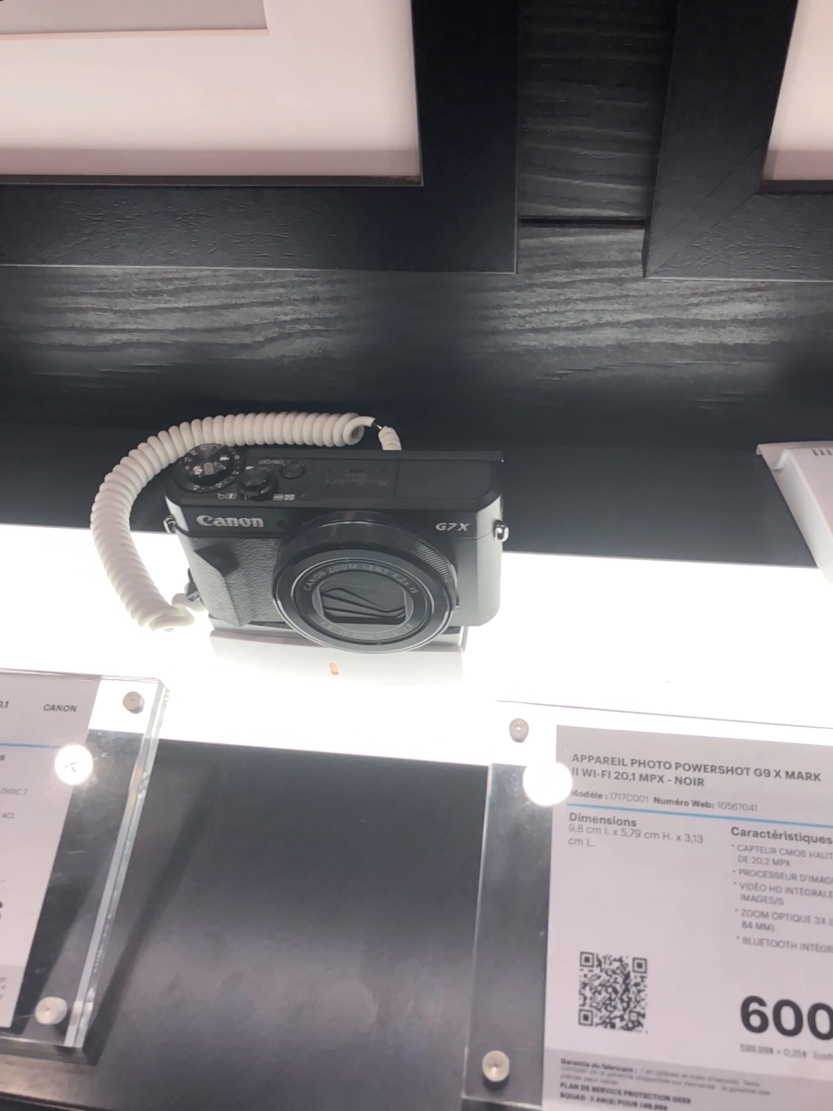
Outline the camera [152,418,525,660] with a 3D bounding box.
[{"bbox_3d":[-0.021,-0.004,0.308,0.110,0.079,0.030,2,46,6],"label":"camera"}]
